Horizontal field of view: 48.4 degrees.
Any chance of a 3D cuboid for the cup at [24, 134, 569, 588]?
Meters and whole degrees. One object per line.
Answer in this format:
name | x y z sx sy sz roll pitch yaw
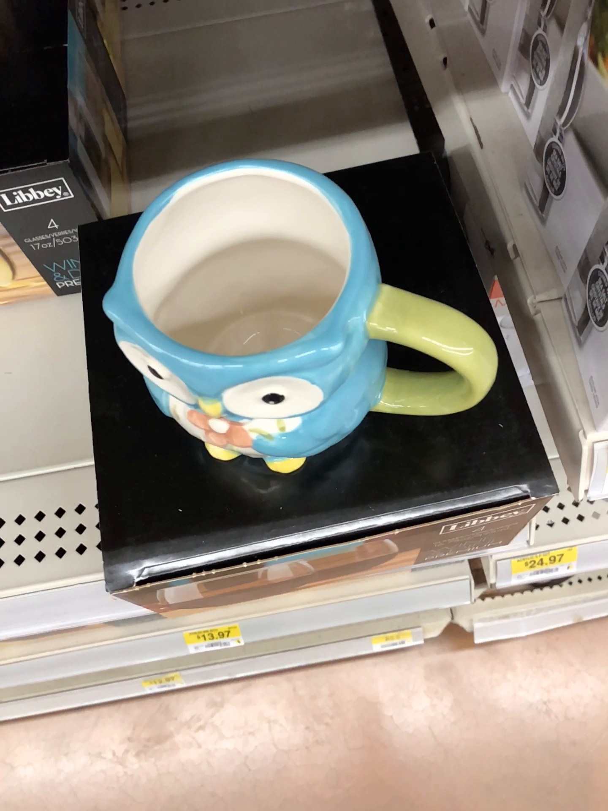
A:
cup | 0.002 -0.011 0.252 0.140 0.110 0.090 20 69 15
